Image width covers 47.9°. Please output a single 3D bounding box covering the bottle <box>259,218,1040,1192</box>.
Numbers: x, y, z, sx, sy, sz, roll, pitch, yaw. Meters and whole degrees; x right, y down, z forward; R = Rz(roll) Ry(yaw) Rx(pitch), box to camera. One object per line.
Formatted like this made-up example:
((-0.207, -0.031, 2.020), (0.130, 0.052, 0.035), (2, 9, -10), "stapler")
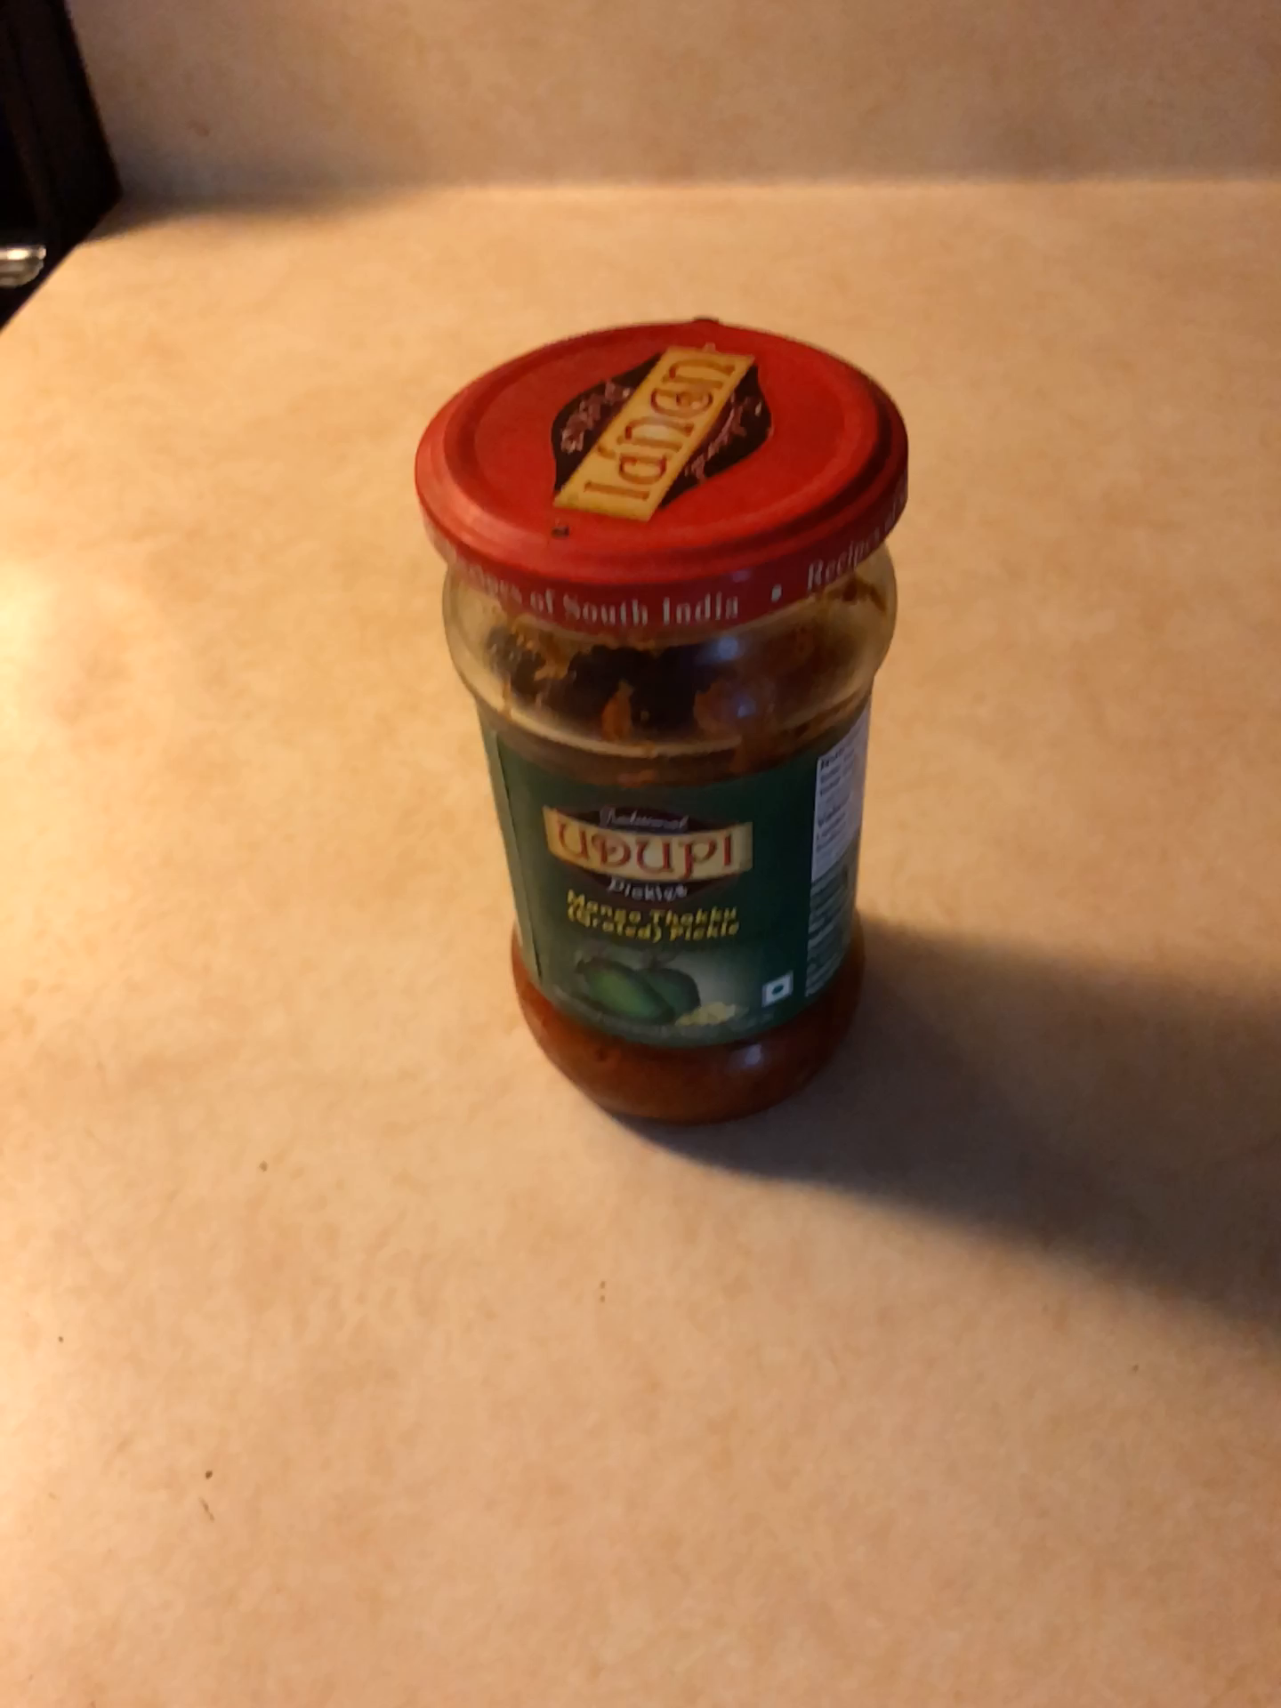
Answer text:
((0.008, -0.022, 0.232), (0.080, 0.120, 0.080), (-2, 45, 2), "bottle")
